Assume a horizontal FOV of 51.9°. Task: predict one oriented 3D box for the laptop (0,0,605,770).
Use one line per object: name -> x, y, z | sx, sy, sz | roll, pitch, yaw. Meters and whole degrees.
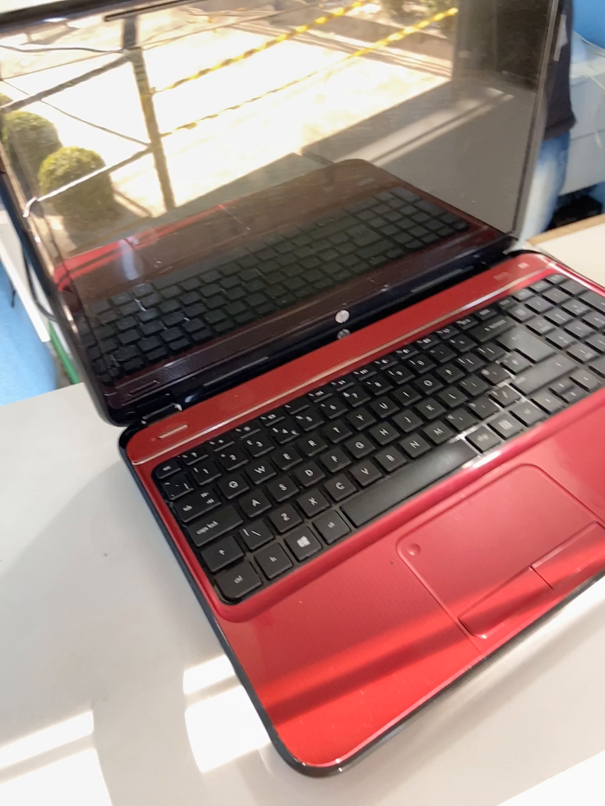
laptop -> 0.081, -0.070, 0.306 | 0.357, 0.221, 0.228 | -26, 46, -18
